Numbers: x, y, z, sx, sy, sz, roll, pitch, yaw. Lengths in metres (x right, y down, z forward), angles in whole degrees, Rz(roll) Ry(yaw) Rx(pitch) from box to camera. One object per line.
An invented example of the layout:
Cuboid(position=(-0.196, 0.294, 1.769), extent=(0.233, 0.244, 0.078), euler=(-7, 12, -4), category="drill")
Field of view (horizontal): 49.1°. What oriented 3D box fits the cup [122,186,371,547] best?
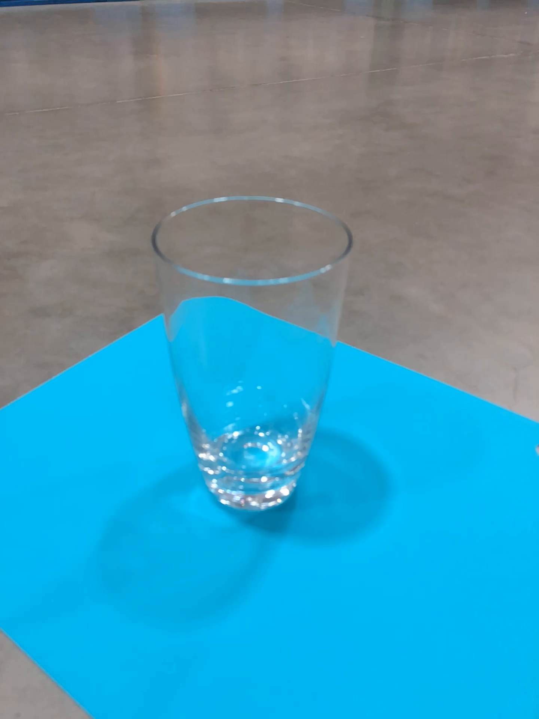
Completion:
Cuboid(position=(-0.005, 0.004, 0.321), extent=(0.100, 0.159, 0.100), euler=(1, 36, -1), category="cup")
